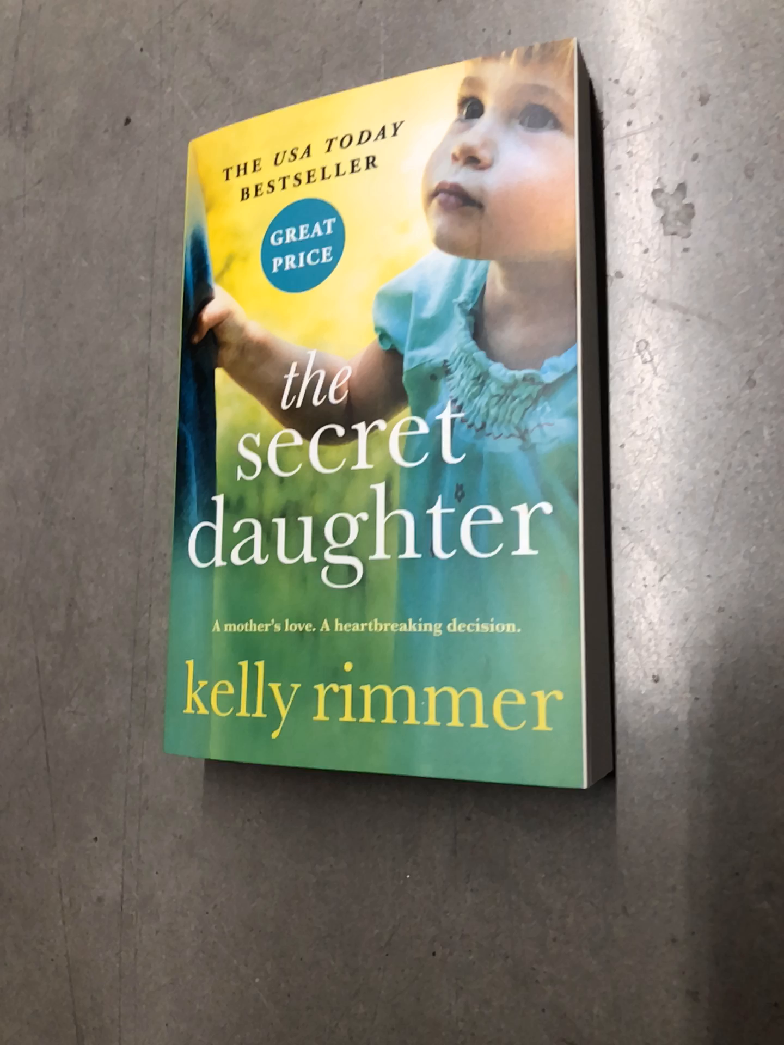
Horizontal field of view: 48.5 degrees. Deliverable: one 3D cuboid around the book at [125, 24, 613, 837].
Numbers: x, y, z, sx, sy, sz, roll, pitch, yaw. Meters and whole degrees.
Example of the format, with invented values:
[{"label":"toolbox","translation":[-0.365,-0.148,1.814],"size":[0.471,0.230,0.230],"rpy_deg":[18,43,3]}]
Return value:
[{"label":"book","translation":[-0.010,-0.025,0.262],"size":[0.140,0.030,0.210],"rpy_deg":[-3,82,24]}]
